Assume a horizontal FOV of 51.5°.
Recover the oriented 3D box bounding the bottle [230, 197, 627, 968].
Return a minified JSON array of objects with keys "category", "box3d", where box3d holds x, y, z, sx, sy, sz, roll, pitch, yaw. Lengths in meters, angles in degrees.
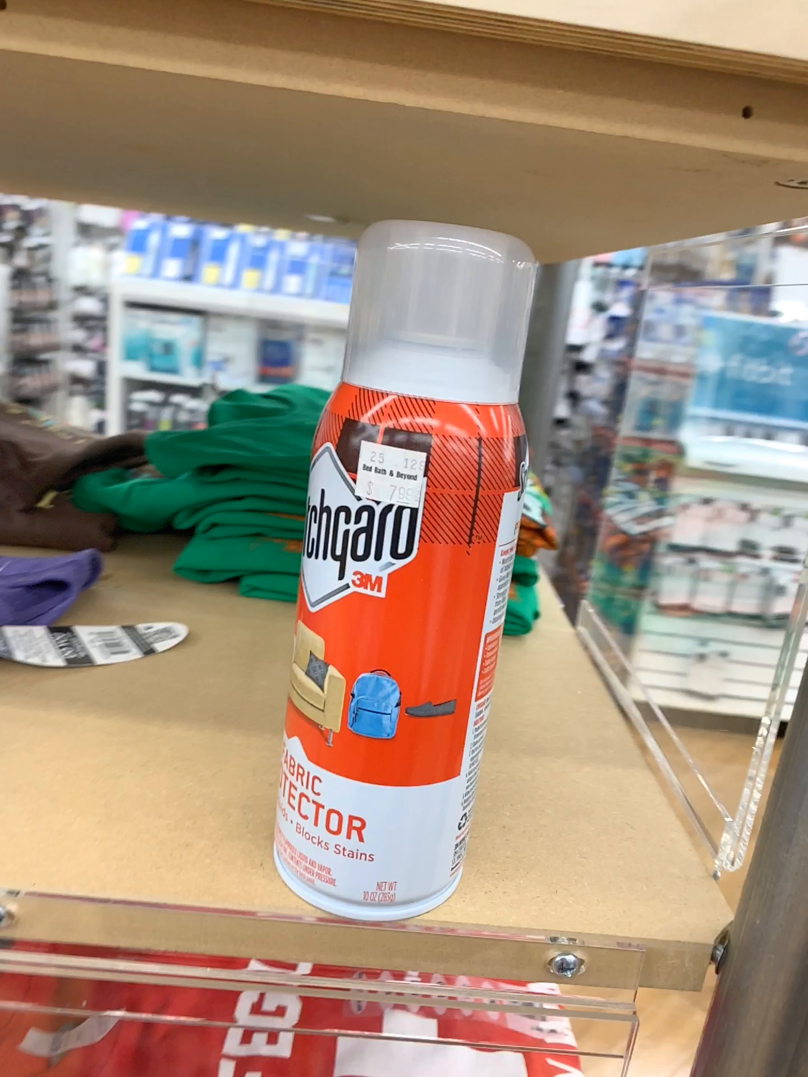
[{"category":"bottle","box3d":[-0.001,0.011,0.257,0.067,0.206,0.069,7,15,-2]}]
